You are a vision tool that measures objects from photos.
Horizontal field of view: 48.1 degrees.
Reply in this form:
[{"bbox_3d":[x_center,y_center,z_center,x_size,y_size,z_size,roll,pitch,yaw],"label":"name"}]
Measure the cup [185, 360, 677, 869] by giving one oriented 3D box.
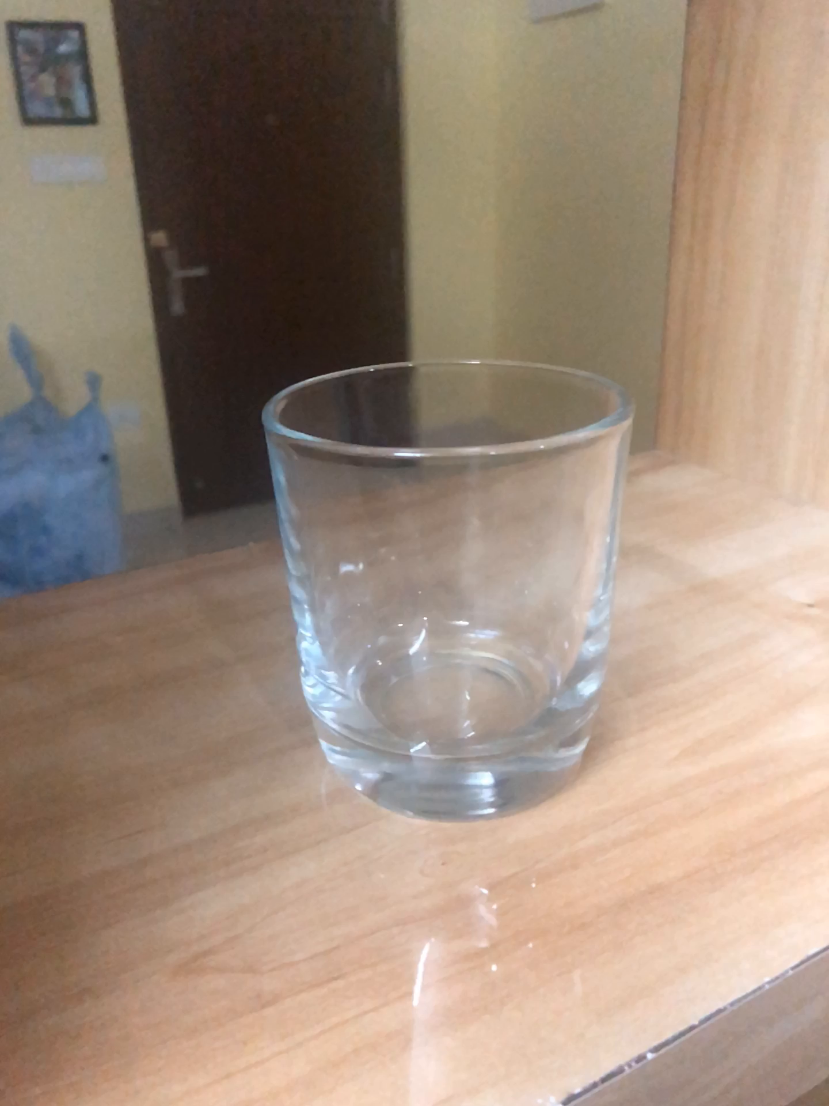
[{"bbox_3d":[0.002,0.009,0.223,0.090,0.090,0.080,-3,23,-3],"label":"cup"}]
